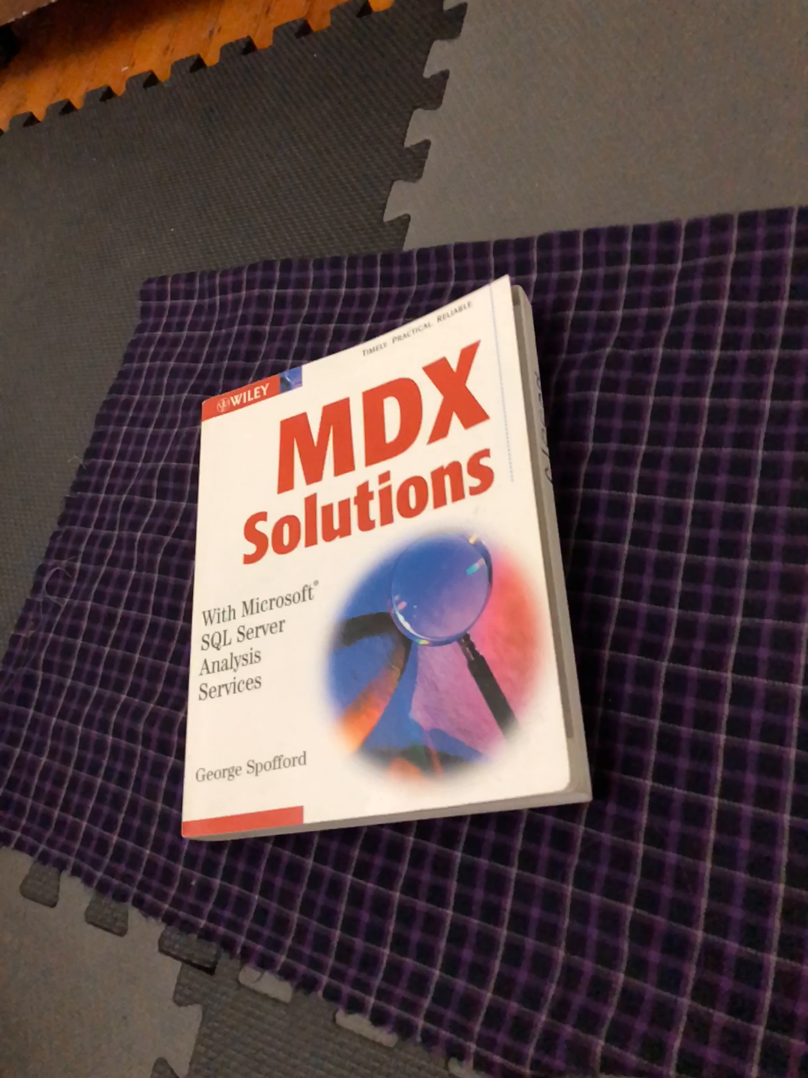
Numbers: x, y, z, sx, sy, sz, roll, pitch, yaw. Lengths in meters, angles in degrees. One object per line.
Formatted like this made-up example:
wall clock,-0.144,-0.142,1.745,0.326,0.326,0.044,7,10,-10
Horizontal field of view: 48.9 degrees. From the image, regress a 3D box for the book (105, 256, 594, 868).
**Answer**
book,-0.036,0.015,0.442,0.220,0.050,0.261,-16,61,25
